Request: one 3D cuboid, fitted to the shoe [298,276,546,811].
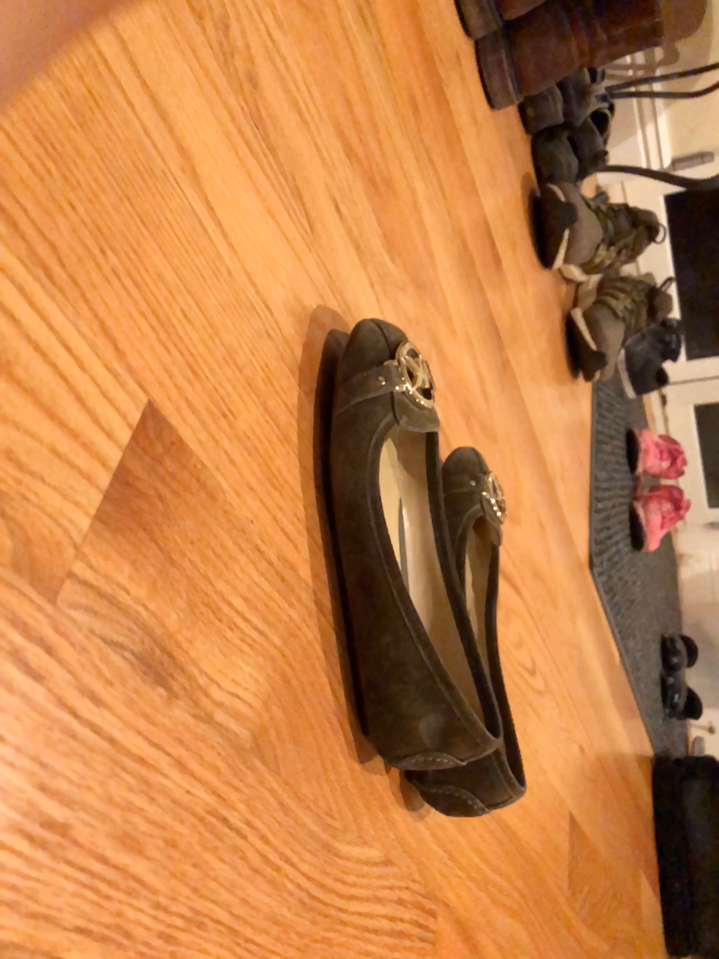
[{"bbox_3d":[0.036,0.031,0.416,0.091,0.079,0.242,-2,86,-65],"label":"shoe"}]

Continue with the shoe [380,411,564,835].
[{"bbox_3d":[0.080,0.087,0.505,0.091,0.079,0.240,49,41,-51],"label":"shoe"}]
